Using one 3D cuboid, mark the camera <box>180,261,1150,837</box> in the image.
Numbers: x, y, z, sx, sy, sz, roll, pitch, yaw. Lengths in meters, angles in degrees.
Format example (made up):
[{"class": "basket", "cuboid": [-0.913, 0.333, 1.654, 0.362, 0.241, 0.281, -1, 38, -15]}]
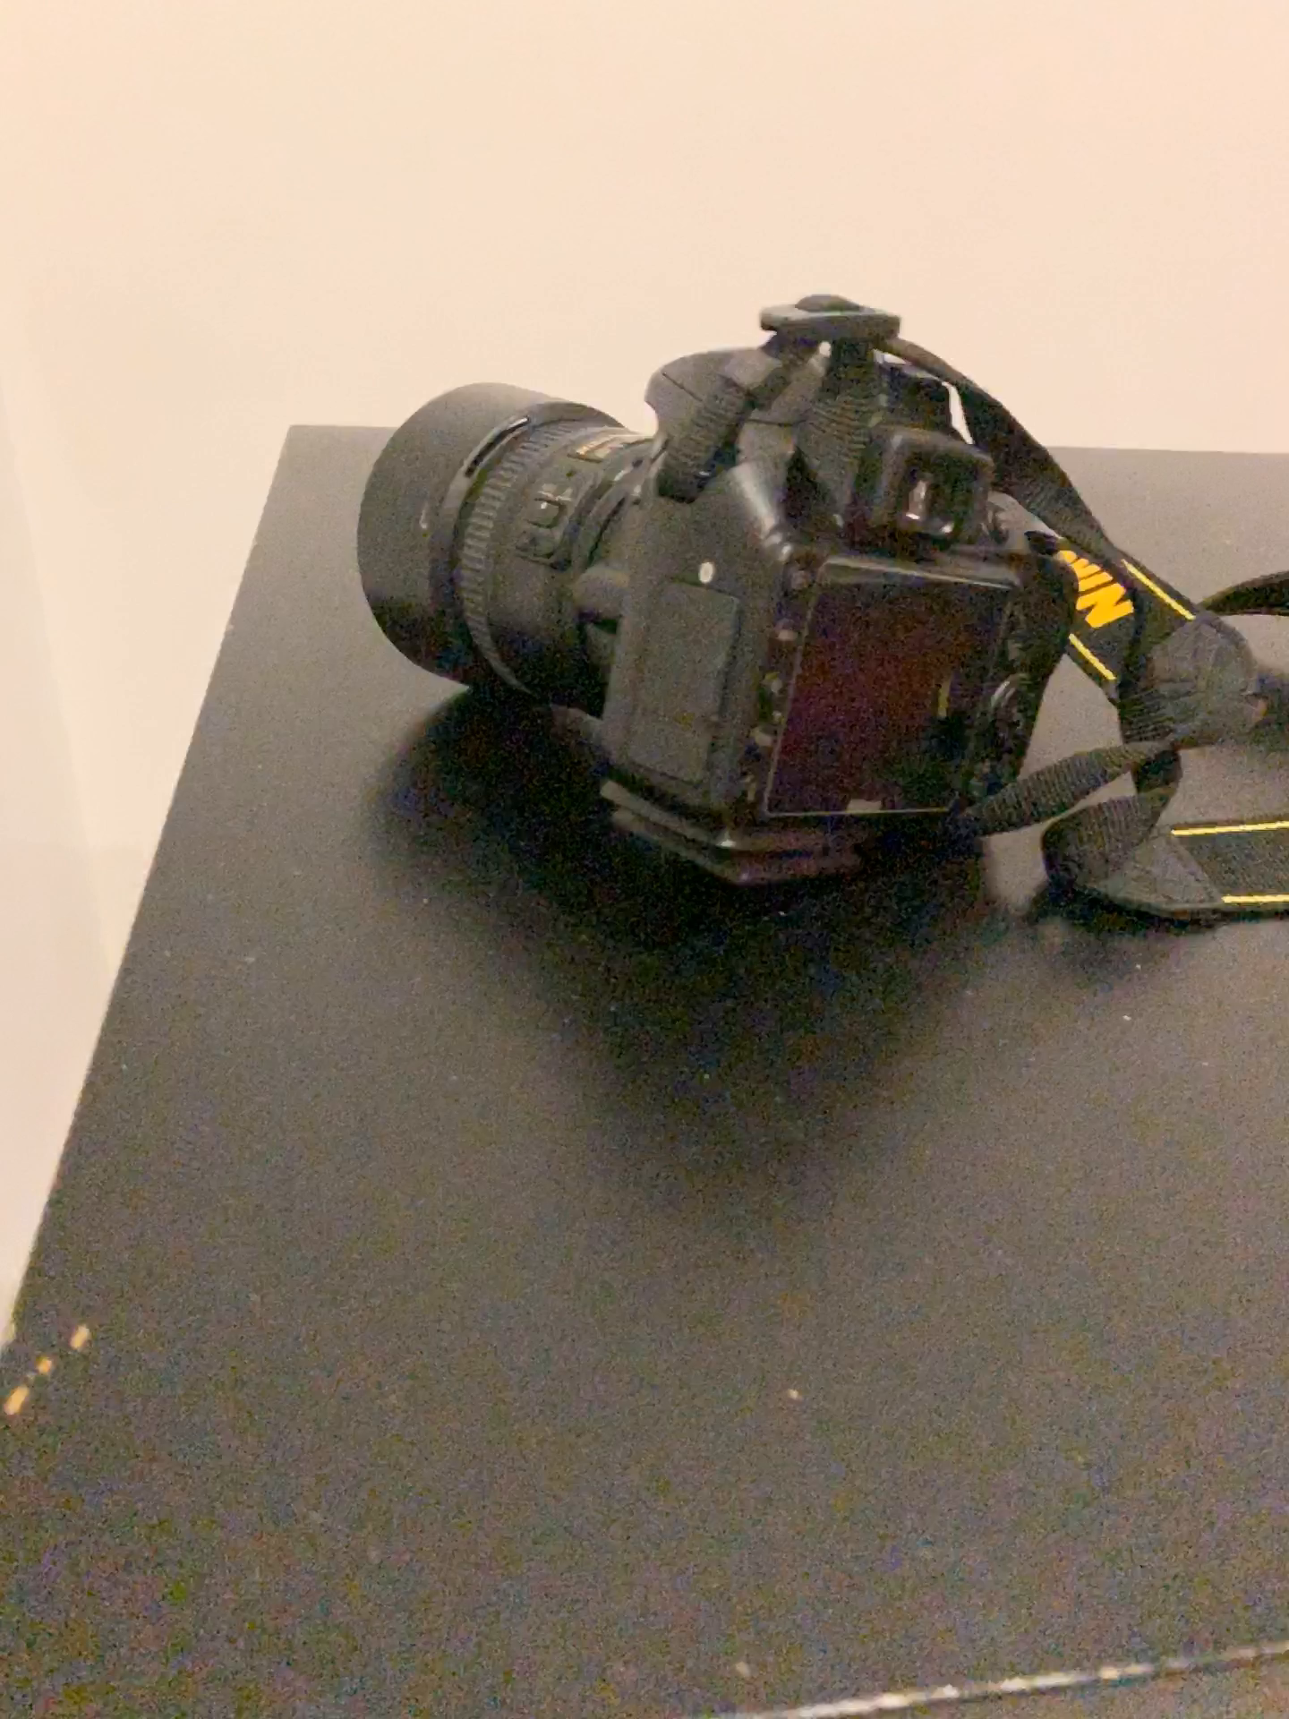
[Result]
[{"class": "camera", "cuboid": [-0.011, -0.086, 0.343, 0.116, 0.089, 0.220, -3, 22, -45]}]
